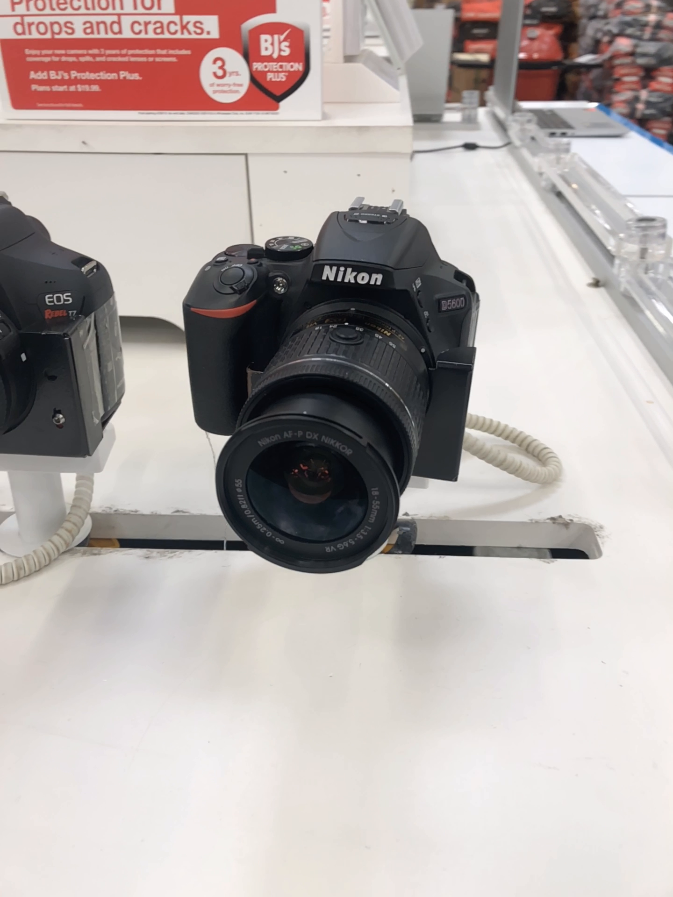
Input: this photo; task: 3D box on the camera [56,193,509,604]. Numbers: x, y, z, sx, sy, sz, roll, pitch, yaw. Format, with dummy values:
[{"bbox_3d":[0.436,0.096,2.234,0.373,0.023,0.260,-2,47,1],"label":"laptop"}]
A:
[{"bbox_3d":[-0.008,-0.032,0.281,0.120,0.089,0.151,4,31,5],"label":"camera"}]
